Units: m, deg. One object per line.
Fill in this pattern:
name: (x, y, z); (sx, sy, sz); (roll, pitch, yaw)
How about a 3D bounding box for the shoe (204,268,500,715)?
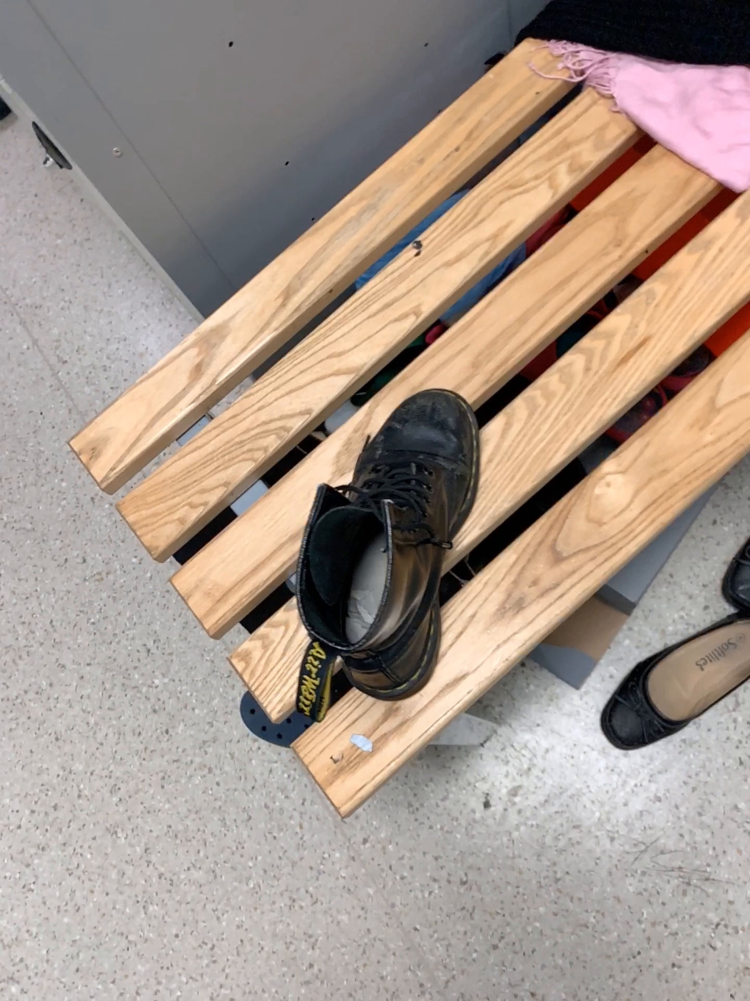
shoe: (0.004, 0.006, 0.558); (0.107, 0.199, 0.261); (10, 74, 17)
